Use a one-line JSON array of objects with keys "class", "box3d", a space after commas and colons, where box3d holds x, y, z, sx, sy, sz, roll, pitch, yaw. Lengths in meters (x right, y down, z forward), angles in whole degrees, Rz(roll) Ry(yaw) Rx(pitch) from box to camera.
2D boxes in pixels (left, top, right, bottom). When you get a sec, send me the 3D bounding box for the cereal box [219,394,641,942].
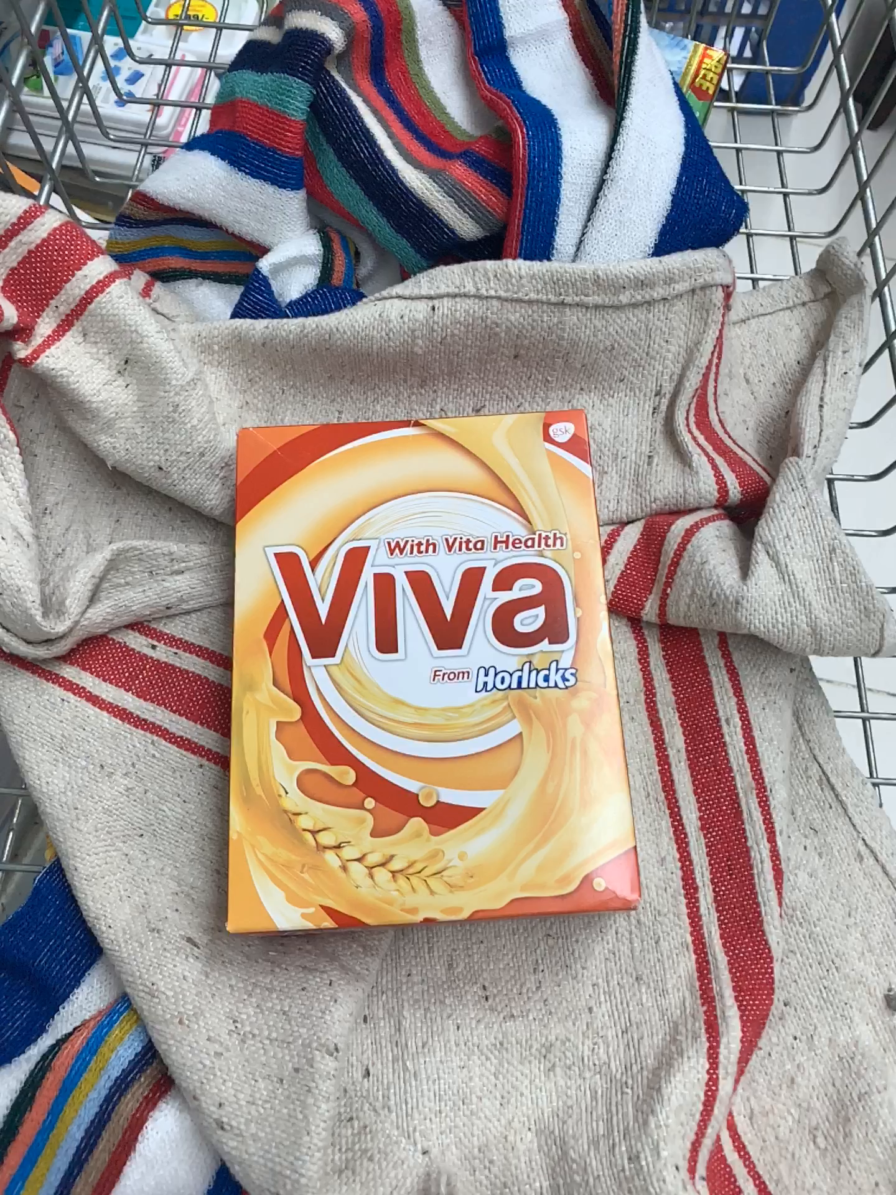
[{"class": "cereal box", "box3d": [-0.012, 0.026, 0.370, 0.140, 0.070, 0.200, -2, 71, -3]}]
